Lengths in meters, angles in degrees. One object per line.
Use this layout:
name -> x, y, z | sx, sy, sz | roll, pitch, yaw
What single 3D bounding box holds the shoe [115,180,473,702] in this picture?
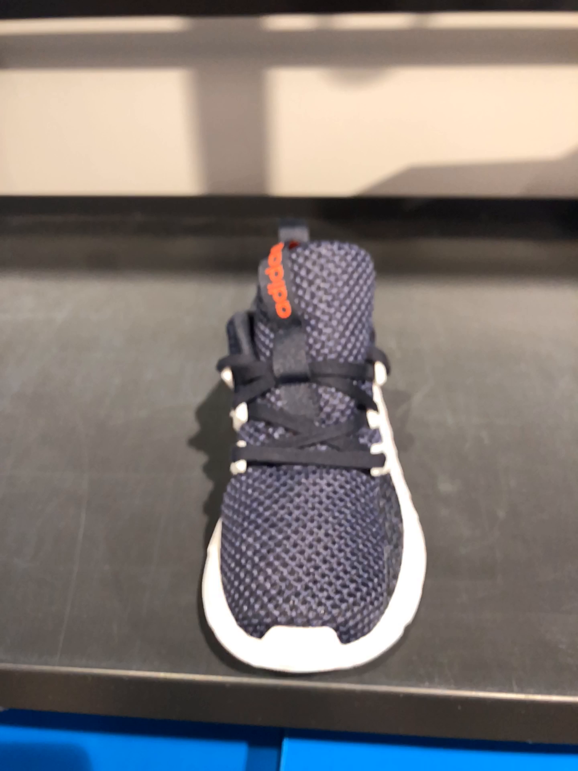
shoe -> 0.008, 0.004, 0.278 | 0.090, 0.110, 0.201 | 1, 38, 4
